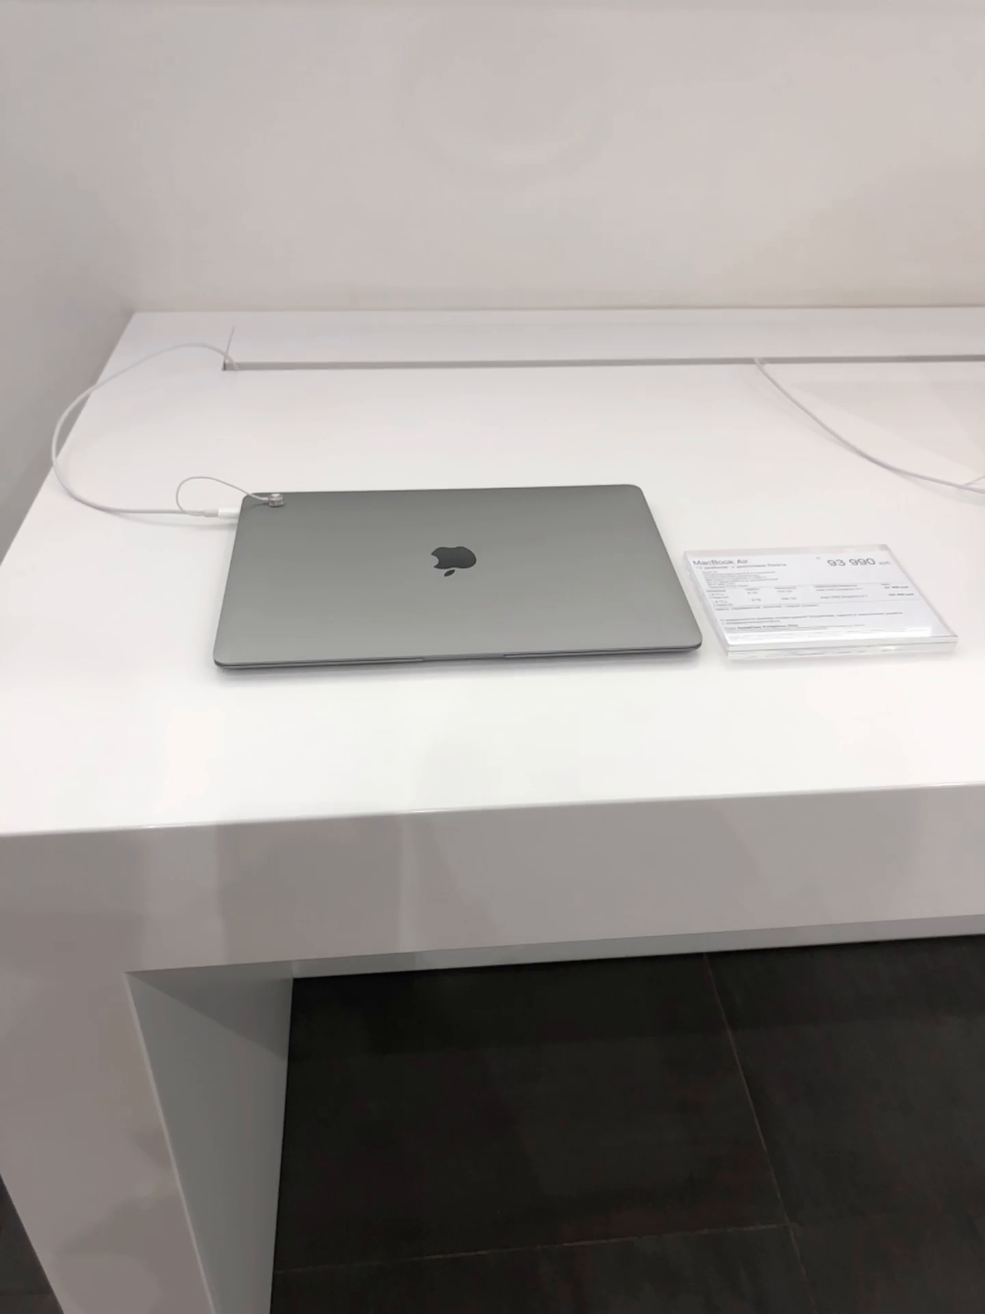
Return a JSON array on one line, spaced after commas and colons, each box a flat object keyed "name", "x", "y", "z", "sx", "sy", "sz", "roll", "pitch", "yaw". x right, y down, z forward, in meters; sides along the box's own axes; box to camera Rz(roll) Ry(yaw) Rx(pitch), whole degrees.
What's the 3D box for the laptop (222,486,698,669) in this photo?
[{"name": "laptop", "x": -0.027, "y": -0.062, "z": 0.746, "sx": 0.292, "sy": 0.006, "sz": 0.205, "roll": -2, "pitch": 38, "yaw": -5}]
